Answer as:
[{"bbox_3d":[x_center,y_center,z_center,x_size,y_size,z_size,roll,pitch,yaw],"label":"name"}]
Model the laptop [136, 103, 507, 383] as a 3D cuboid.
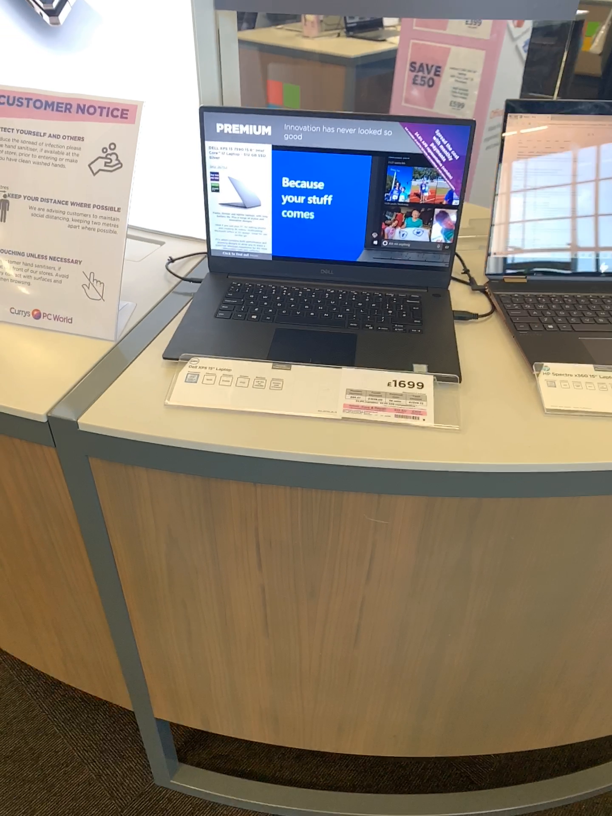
[{"bbox_3d":[0.020,-0.210,0.760,0.350,0.224,0.255,5,37,4],"label":"laptop"}]
